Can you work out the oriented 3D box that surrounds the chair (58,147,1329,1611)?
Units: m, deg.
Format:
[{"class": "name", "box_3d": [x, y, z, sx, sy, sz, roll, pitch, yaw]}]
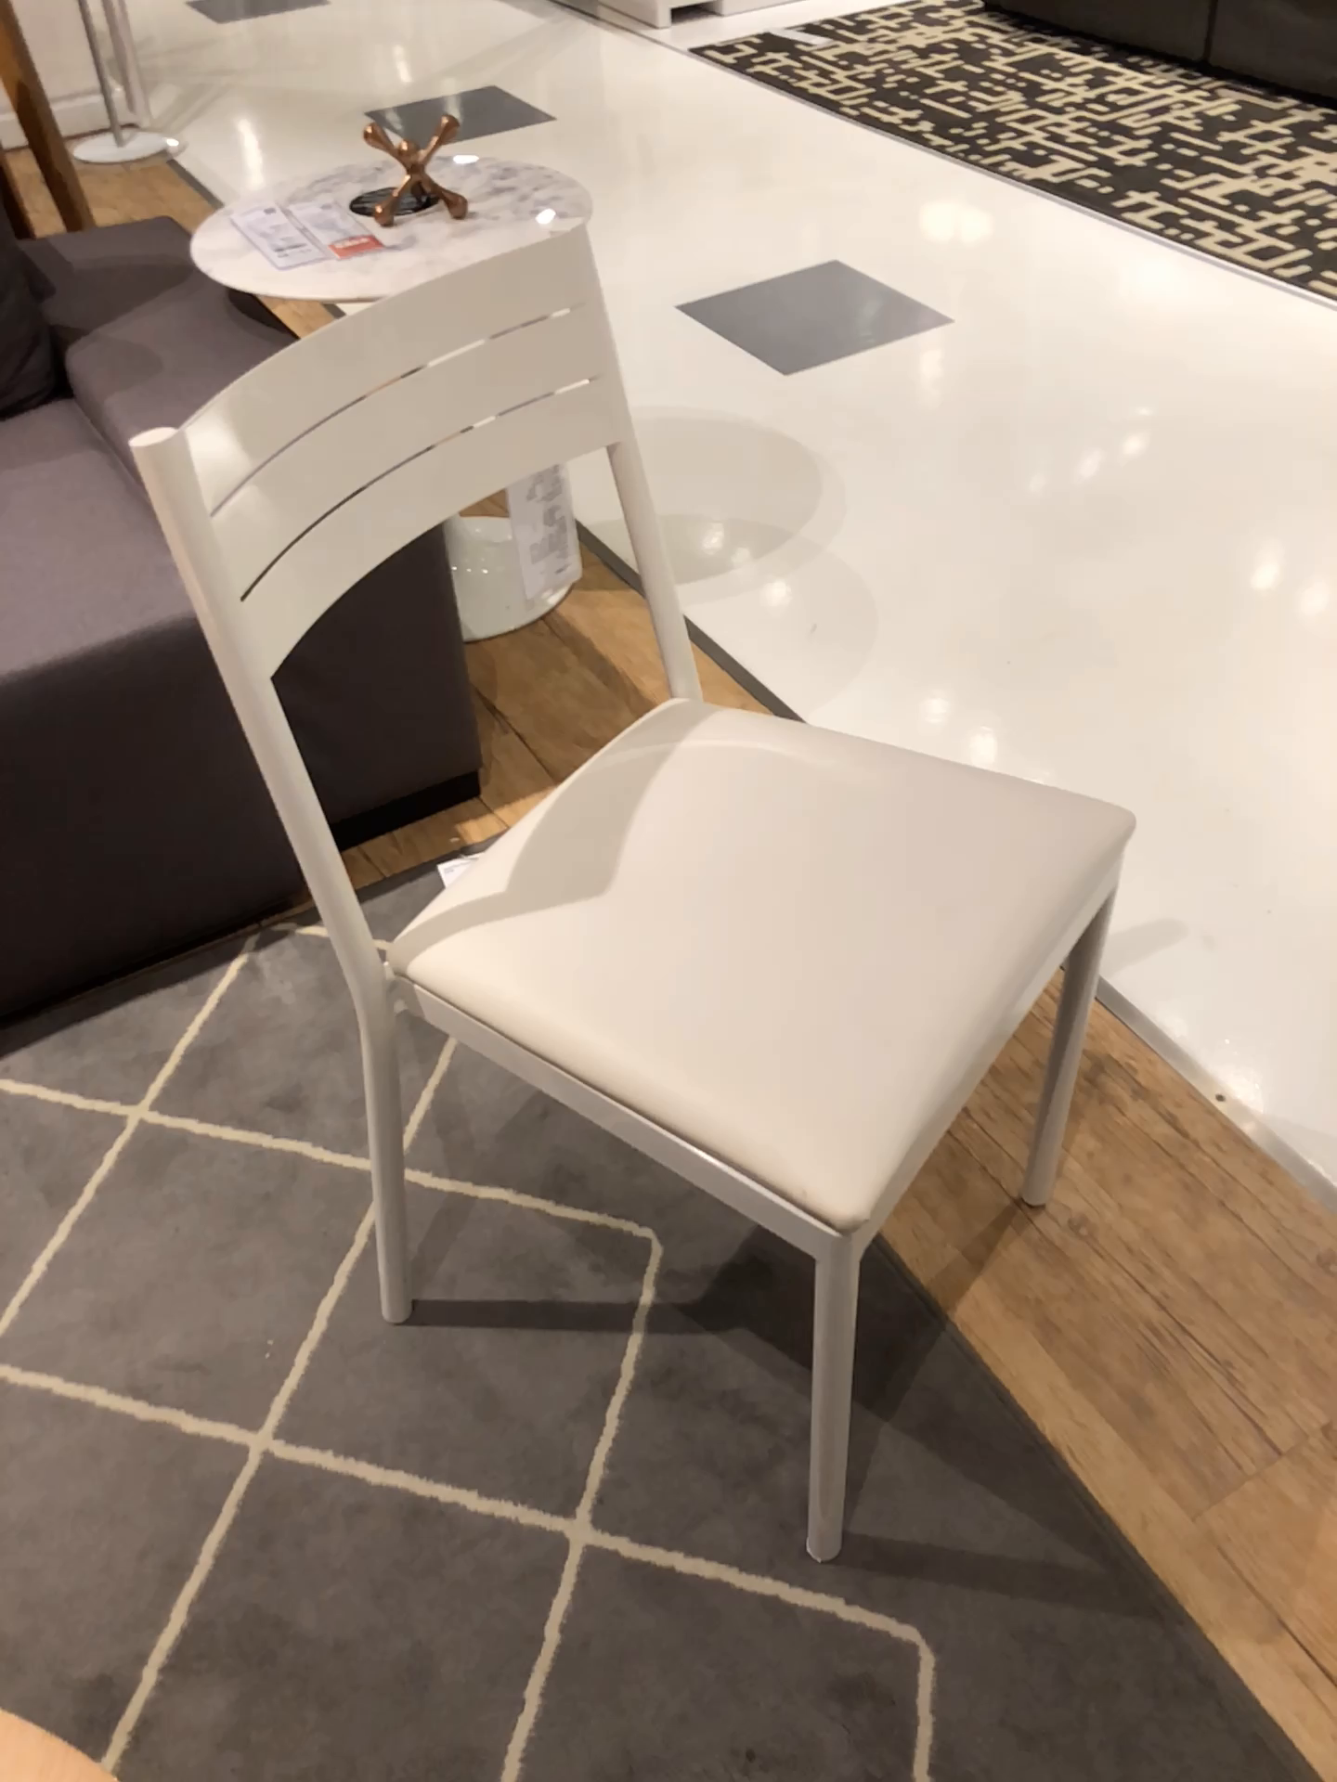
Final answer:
[{"class": "chair", "box_3d": [0.047, 0.004, 1.000, 0.471, 0.774, 0.452, 23, 49, 27]}]
